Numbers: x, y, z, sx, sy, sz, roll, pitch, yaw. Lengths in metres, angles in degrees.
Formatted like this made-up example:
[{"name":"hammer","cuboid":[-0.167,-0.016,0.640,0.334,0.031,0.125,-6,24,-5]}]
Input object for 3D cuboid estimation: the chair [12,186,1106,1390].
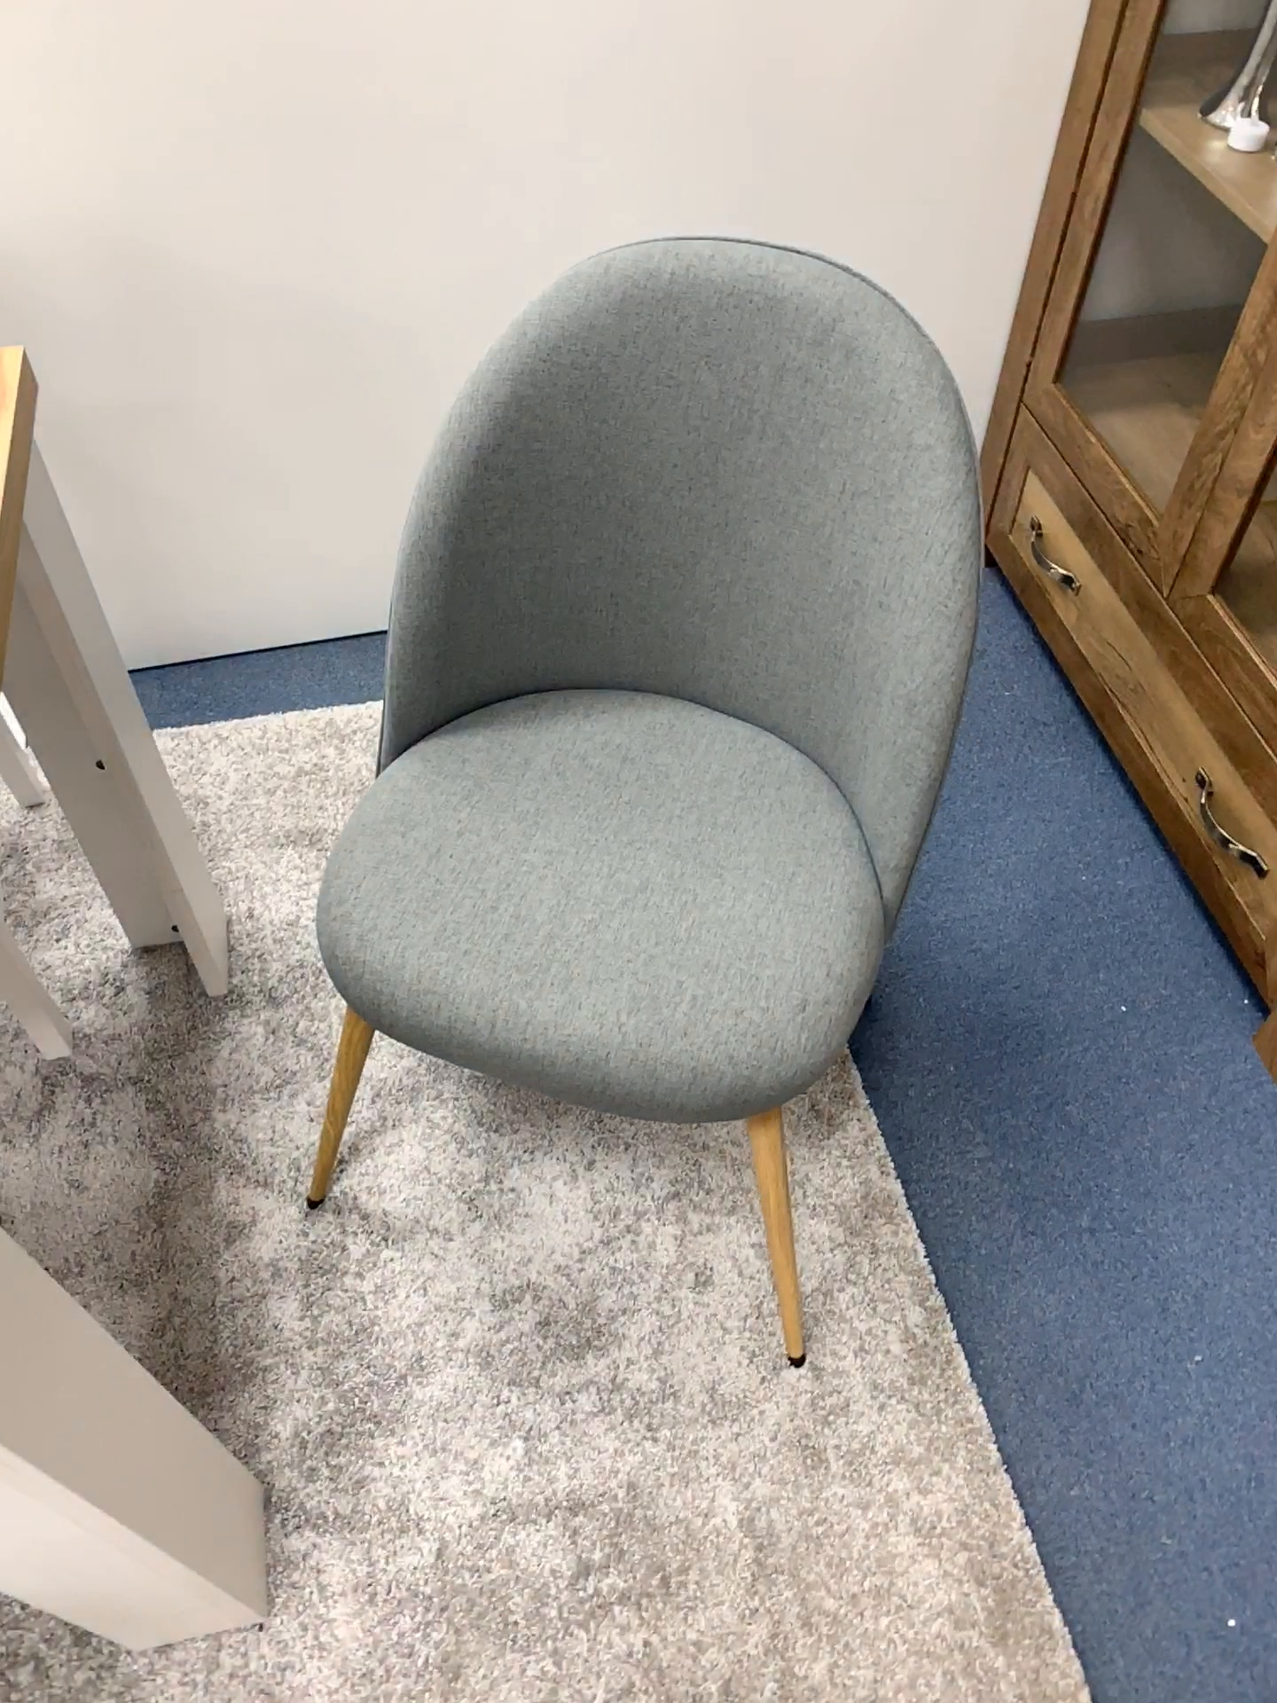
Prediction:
[{"name":"chair","cuboid":[0.001,-0.025,1.094,0.530,0.737,0.572,13,51,10]}]
